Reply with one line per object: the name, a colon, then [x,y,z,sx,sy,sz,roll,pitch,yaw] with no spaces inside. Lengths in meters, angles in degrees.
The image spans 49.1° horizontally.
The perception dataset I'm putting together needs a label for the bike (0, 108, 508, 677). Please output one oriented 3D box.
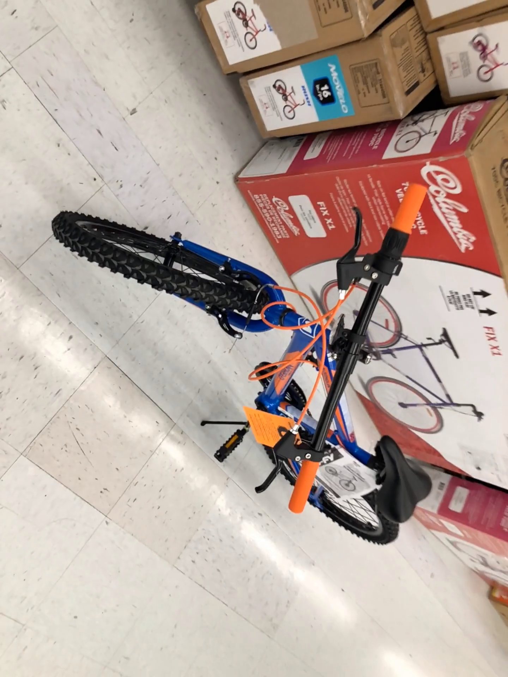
bike: [0.012,0.227,1.380,1.319,0.870,0.584,50,63,-31]
